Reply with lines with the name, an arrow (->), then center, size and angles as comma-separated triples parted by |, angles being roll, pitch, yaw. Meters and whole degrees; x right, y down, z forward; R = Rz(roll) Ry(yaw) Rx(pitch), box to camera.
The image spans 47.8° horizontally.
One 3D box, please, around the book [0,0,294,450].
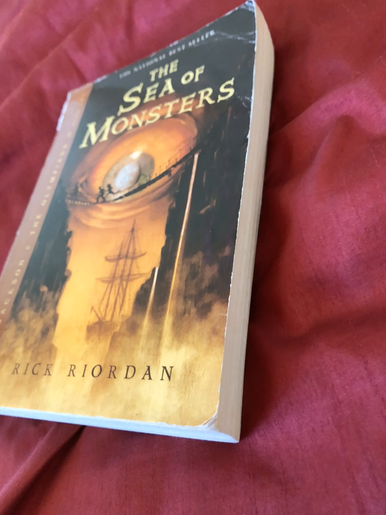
book -> -0.032, -0.026, 0.206 | 0.145, 0.030, 0.197 | -8, 60, 33
